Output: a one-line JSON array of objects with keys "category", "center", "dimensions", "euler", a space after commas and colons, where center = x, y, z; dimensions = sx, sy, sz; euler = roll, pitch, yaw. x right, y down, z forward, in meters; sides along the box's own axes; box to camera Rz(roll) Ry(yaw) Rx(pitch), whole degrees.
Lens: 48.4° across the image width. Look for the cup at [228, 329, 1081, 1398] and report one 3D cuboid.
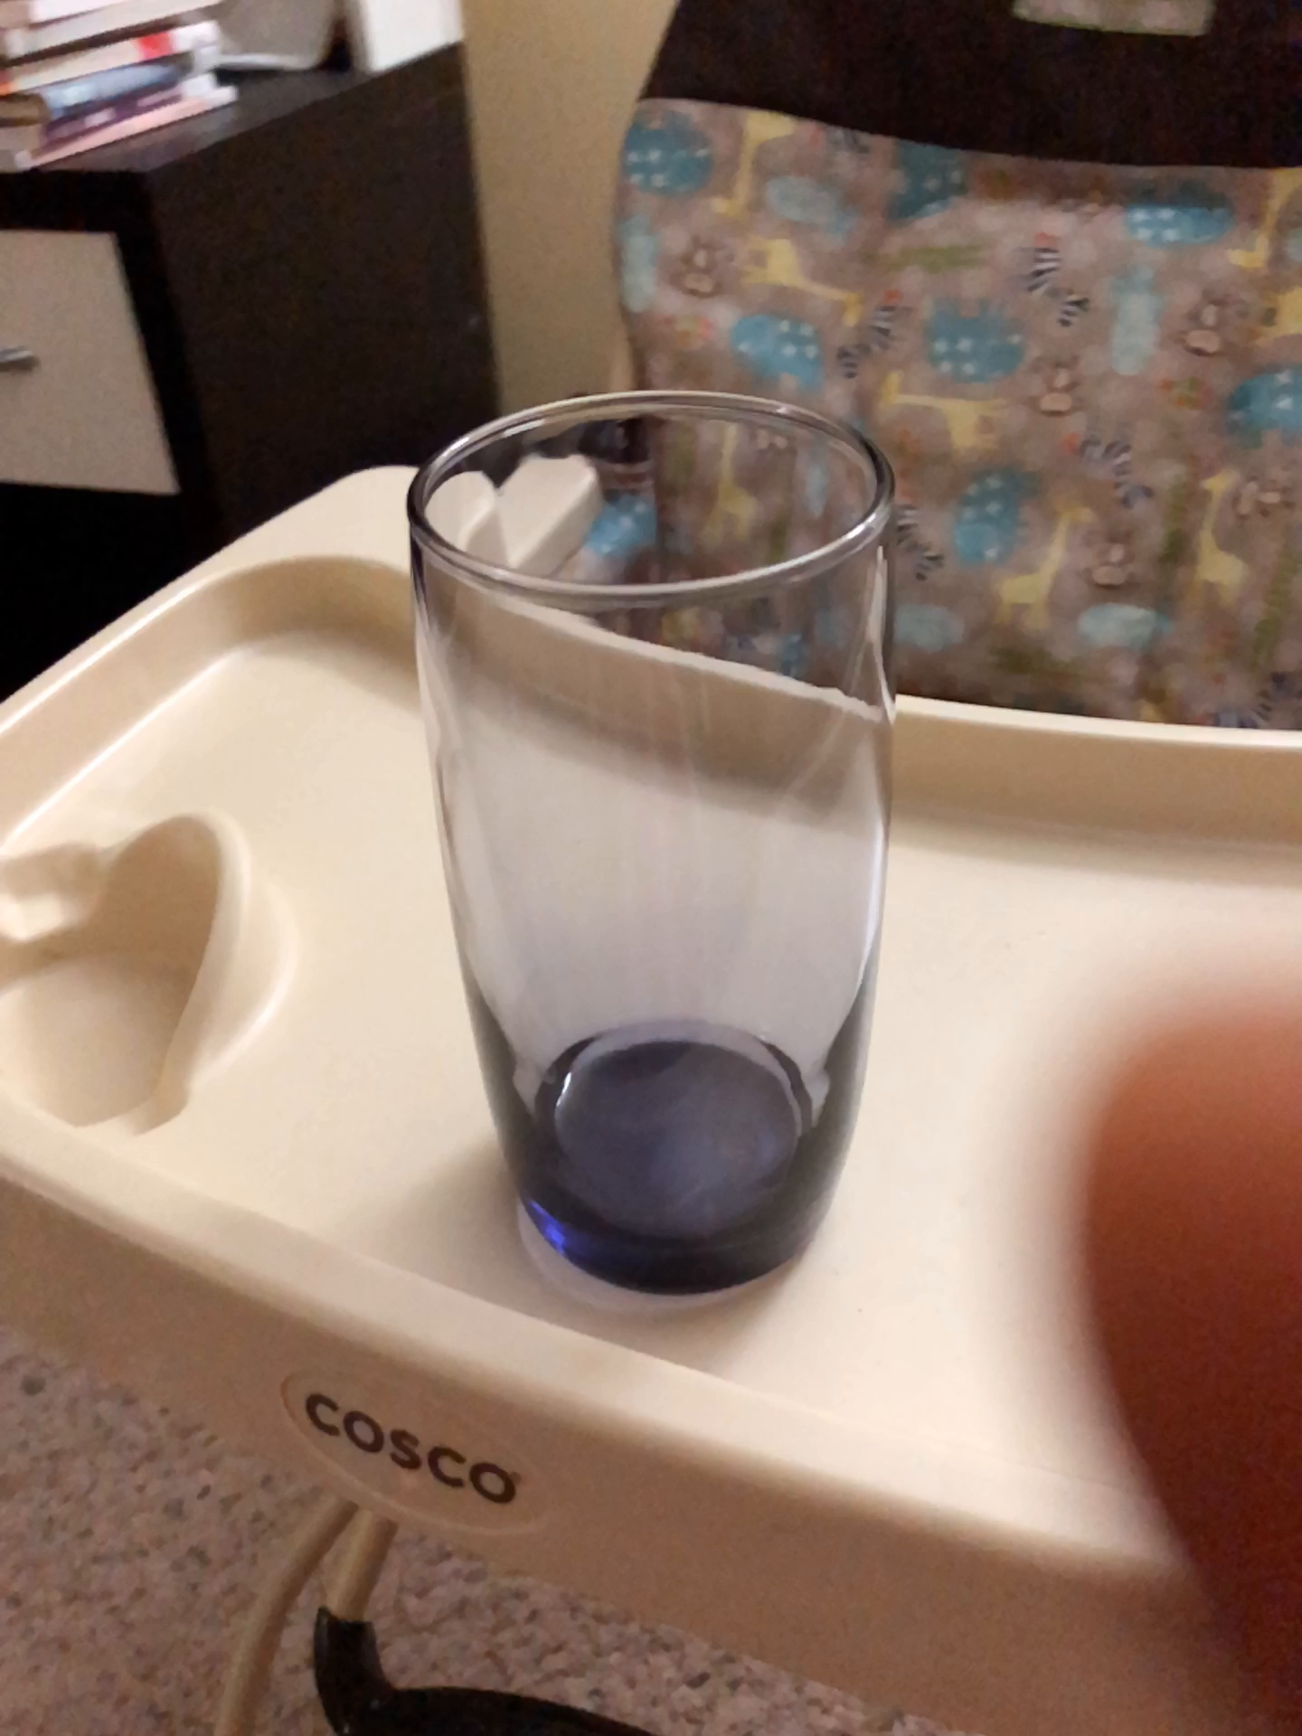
[{"category": "cup", "center": [0.004, -0.003, 0.242], "dimensions": [0.083, 0.134, 0.084], "euler": [-2, 38, 2]}]
